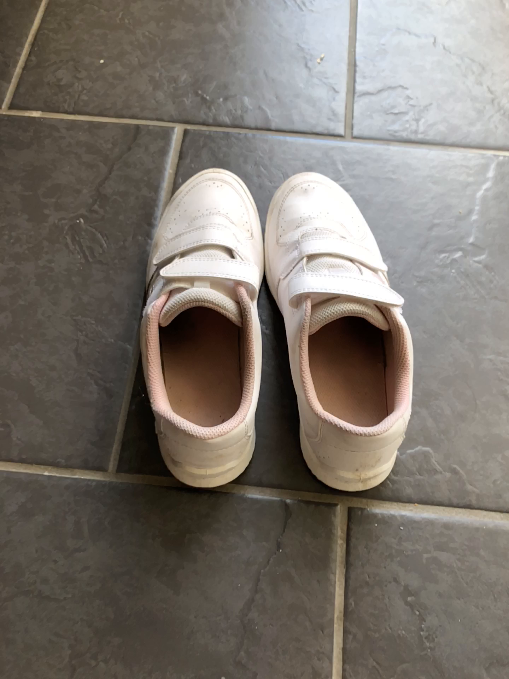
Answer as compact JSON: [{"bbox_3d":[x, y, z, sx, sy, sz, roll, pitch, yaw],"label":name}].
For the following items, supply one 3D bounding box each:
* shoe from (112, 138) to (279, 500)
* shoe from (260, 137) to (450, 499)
[{"bbox_3d":[-0.034,-0.018,0.414,0.095,0.090,0.251,0,66,0],"label":"shoe"},{"bbox_3d":[0.059,-0.020,0.420,0.095,0.090,0.251,-3,66,-1],"label":"shoe"}]
